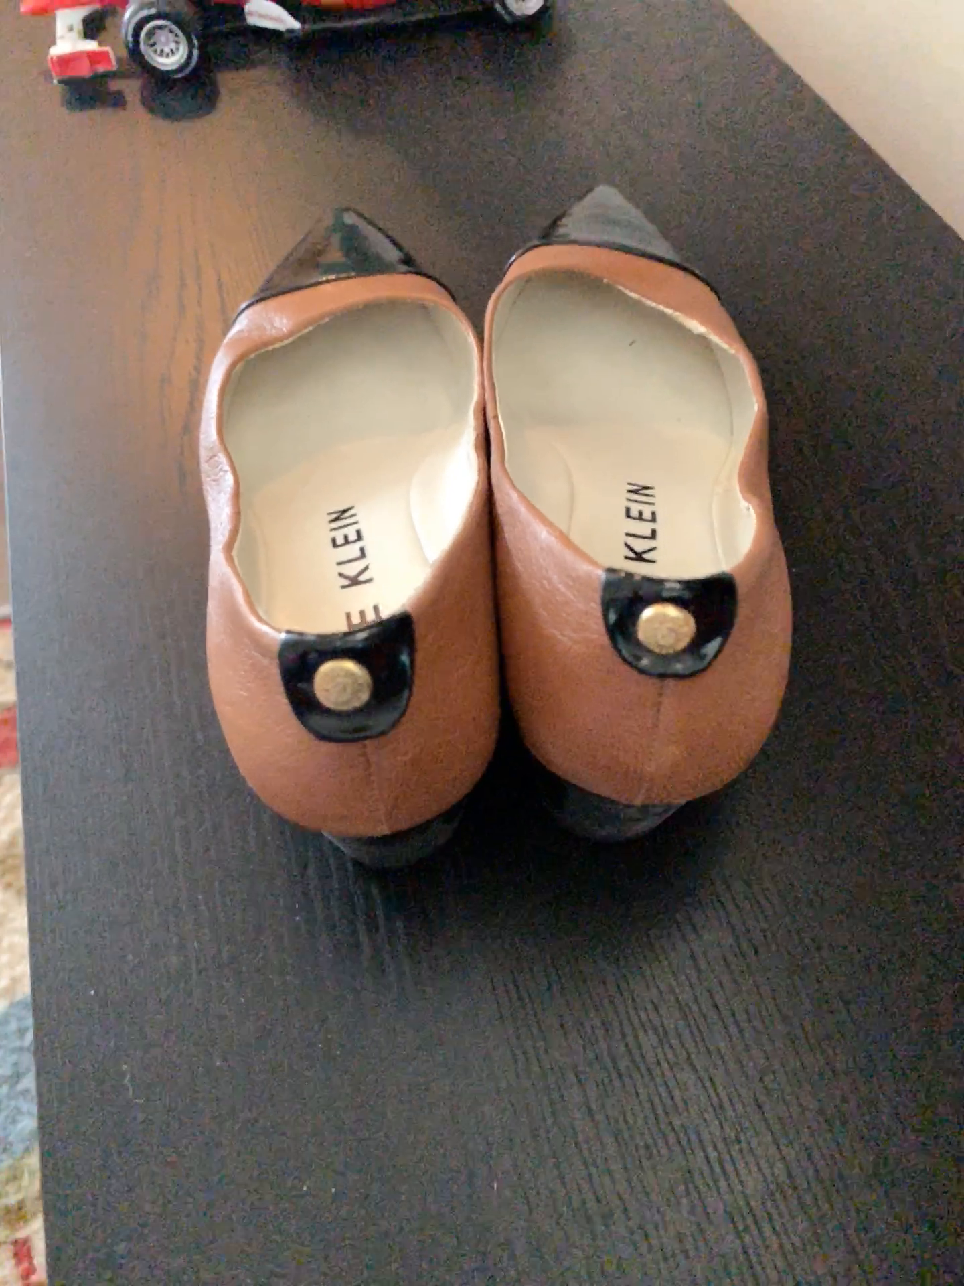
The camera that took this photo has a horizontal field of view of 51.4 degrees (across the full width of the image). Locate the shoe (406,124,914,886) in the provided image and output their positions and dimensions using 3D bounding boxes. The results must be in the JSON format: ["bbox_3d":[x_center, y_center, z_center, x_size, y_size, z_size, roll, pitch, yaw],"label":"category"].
[{"bbox_3d":[0.034,-0.067,0.283,0.080,0.079,0.262,1,42,2],"label":"shoe"}]

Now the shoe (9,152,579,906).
[{"bbox_3d":[-0.039,-0.062,0.285,0.090,0.079,0.262,-3,39,-3],"label":"shoe"}]
